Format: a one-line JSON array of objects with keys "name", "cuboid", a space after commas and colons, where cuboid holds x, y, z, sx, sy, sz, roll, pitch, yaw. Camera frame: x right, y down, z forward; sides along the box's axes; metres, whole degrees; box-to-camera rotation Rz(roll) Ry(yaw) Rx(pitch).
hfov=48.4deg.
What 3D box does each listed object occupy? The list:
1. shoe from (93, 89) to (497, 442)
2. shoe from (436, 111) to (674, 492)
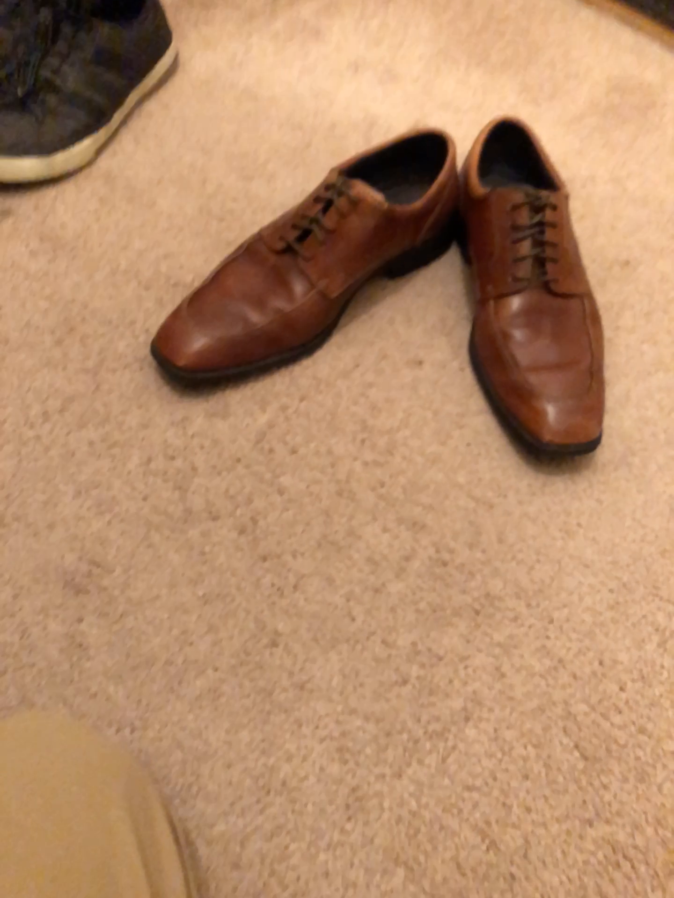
[{"name": "shoe", "cuboid": [-0.026, -0.158, 0.623, 0.301, 0.119, 0.120, -36, 67, -21]}, {"name": "shoe", "cuboid": [0.158, -0.126, 0.600, 0.100, 0.109, 0.301, -3, 59, -4]}]
